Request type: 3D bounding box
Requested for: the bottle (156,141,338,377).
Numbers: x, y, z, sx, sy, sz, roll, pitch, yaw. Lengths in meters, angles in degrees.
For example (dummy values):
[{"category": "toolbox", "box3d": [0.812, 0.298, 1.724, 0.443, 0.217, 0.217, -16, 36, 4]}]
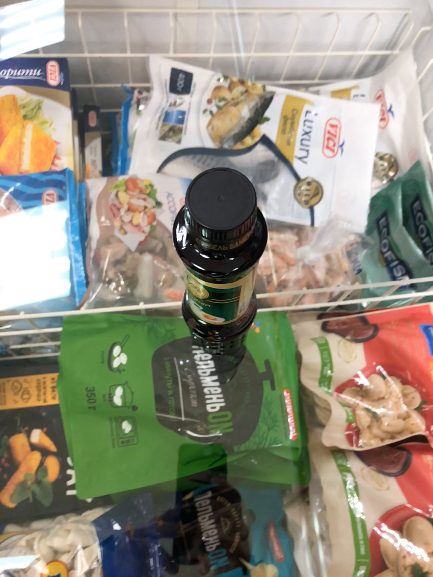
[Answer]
[{"category": "bottle", "box3d": [0.007, 0.003, 0.287, 0.053, 0.200, 0.058, 1, 72, -2]}]
